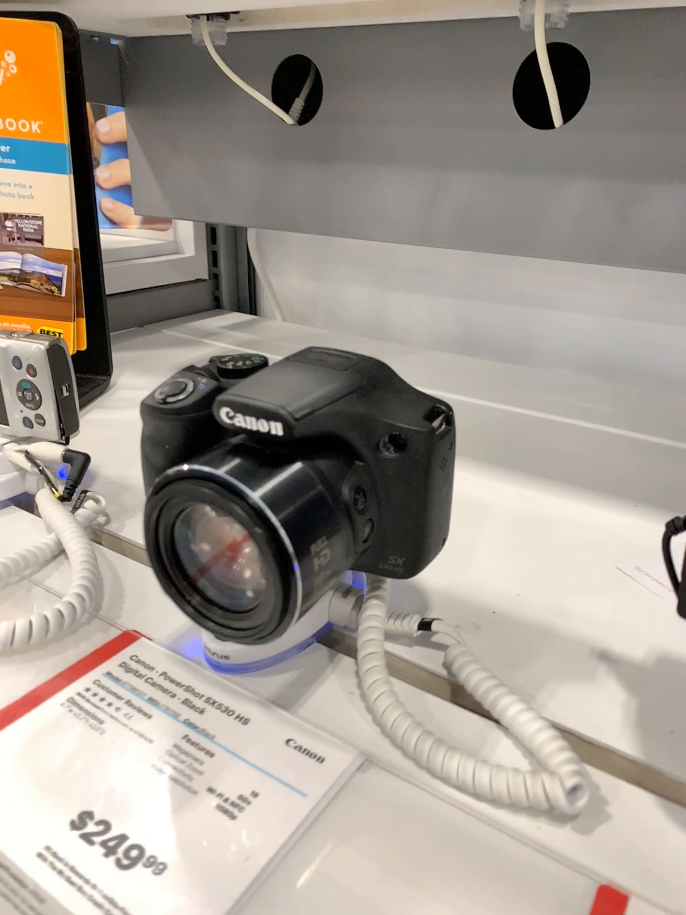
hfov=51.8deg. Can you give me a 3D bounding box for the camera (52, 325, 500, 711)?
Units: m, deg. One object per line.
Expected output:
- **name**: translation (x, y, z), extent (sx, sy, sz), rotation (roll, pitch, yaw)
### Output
- **camera**: translation (-0.022, 0.008, 0.263), extent (0.120, 0.080, 0.100), rotation (16, 28, 31)
